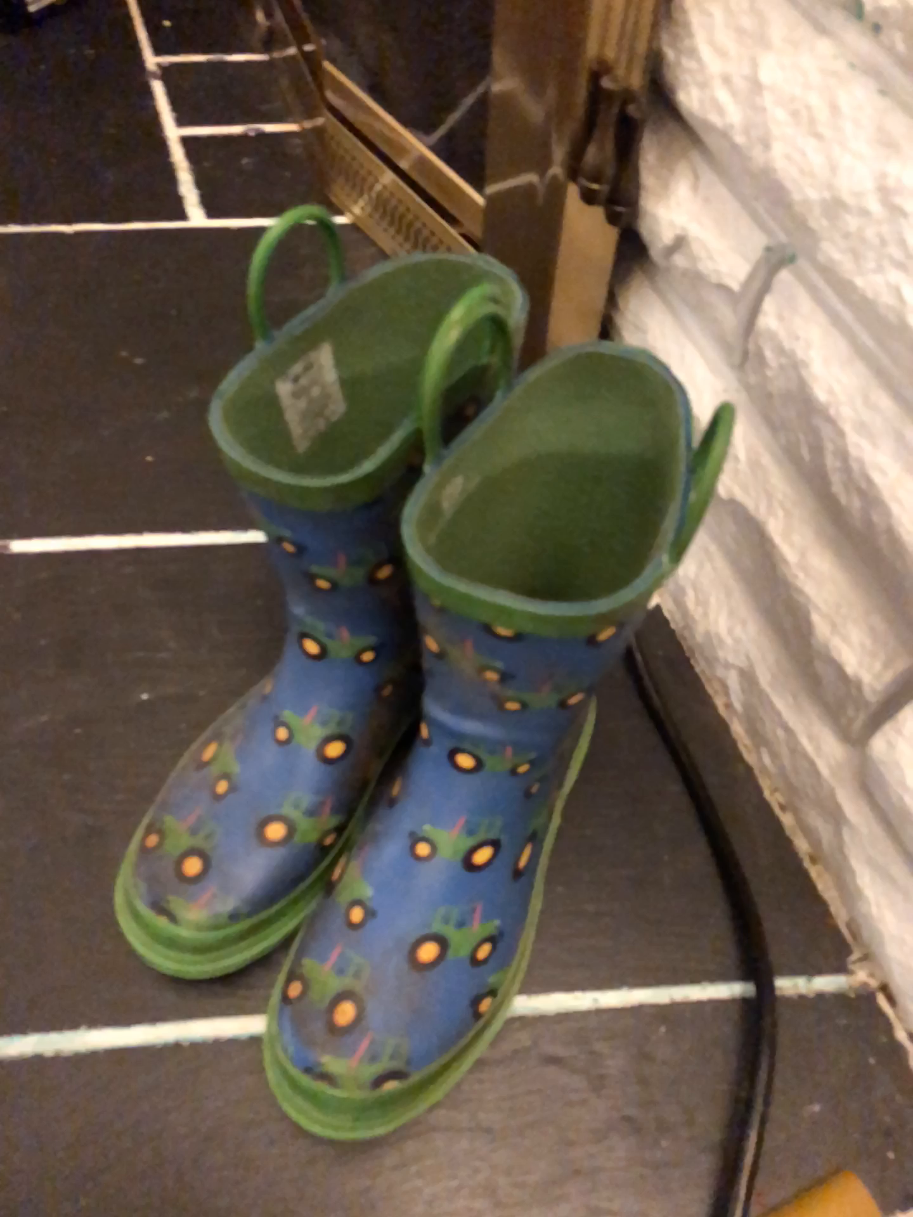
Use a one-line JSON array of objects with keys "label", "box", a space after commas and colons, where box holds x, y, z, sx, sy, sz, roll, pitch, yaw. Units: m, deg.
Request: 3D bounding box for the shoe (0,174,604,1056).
[{"label": "shoe", "box": [-0.066, 0.015, 0.376, 0.100, 0.239, 0.231, 32, 60, 18]}]

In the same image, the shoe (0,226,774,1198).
[{"label": "shoe", "box": [-0.003, 0.046, 0.345, 0.100, 0.229, 0.241, 22, 57, 12]}]
